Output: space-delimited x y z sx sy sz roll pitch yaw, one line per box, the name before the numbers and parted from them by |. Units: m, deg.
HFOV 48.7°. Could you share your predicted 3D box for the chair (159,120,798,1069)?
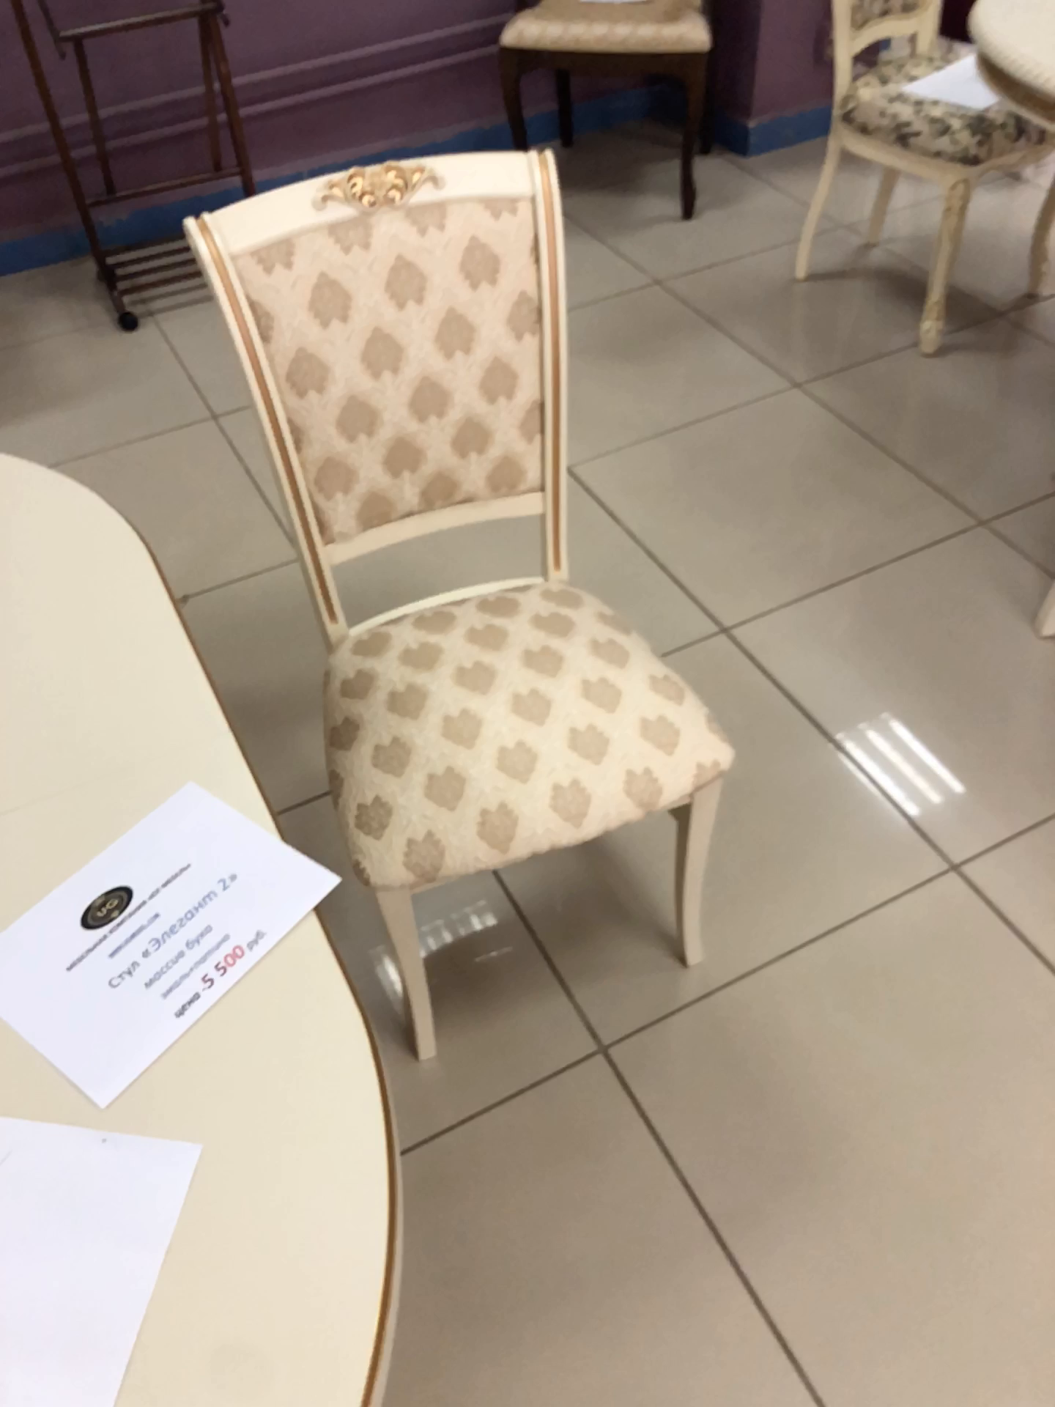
chair | -0.053 -0.077 1.383 0.448 0.944 0.483 -16 47 -12
